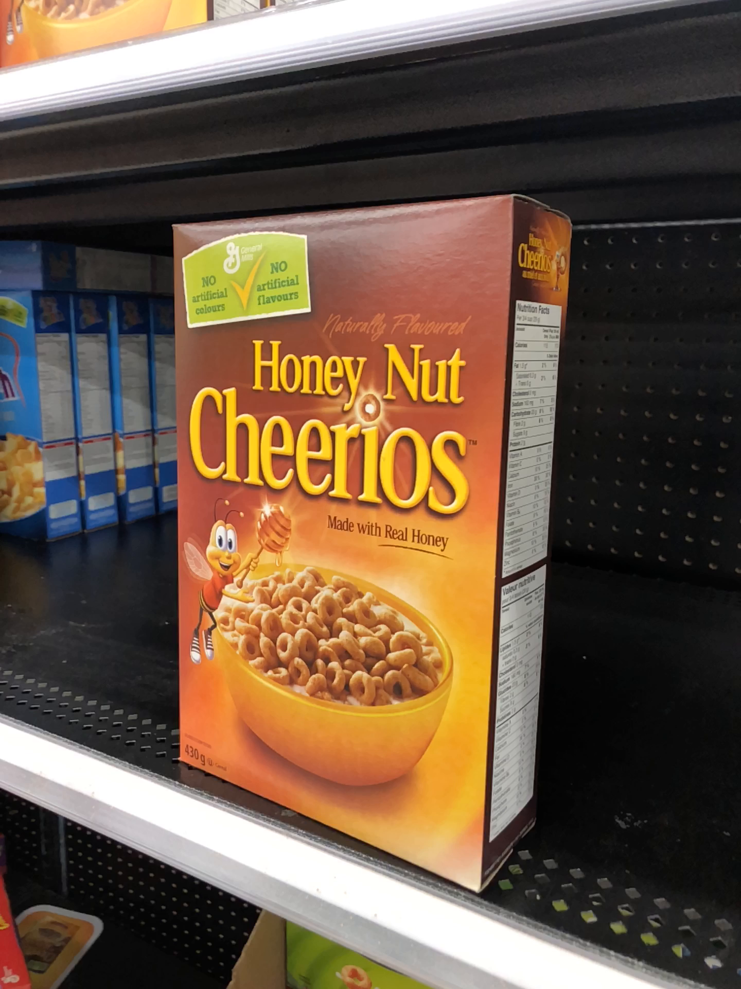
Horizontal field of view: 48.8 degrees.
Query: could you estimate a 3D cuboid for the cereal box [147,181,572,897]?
[{"bbox_3d":[-0.014,0.012,0.417,0.200,0.299,0.070,8,13,34],"label":"cereal box"}]
